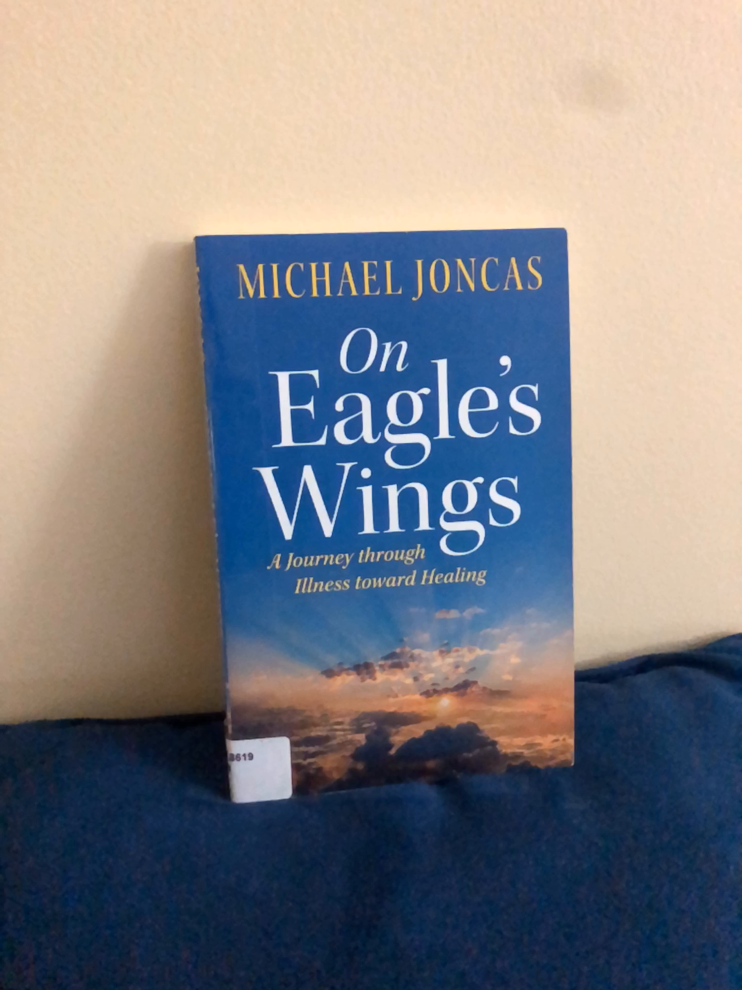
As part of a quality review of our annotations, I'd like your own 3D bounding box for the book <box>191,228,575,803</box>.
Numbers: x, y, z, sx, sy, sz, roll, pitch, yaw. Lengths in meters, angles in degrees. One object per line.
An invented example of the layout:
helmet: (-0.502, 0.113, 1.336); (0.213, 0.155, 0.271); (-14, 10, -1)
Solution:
book: (0.009, 0.007, 0.317); (0.139, 0.210, 0.014); (-3, 6, -9)
